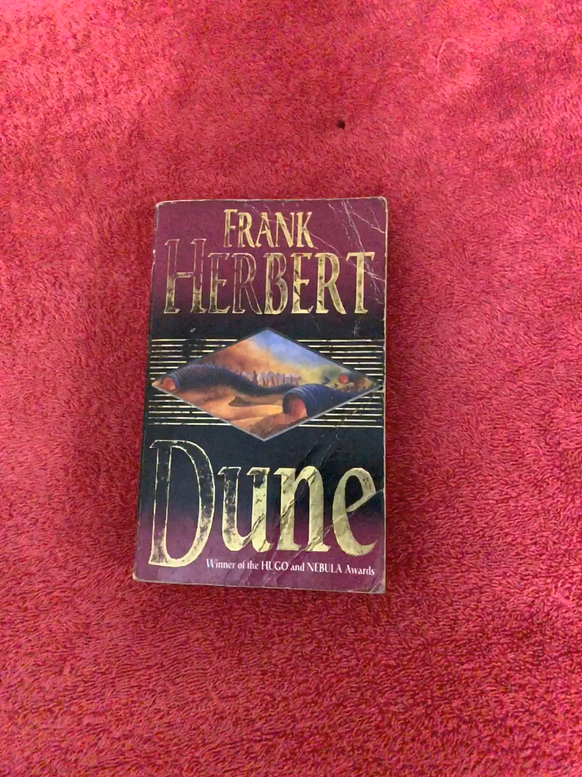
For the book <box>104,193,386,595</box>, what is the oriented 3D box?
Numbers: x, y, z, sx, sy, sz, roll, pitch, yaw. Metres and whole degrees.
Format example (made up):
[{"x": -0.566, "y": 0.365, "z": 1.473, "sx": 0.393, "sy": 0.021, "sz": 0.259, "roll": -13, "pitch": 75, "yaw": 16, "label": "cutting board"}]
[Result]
[{"x": -0.015, "y": 0.001, "z": 0.271, "sx": 0.114, "sy": 0.040, "sz": 0.165, "roll": 0, "pitch": 81, "yaw": 8, "label": "book"}]
